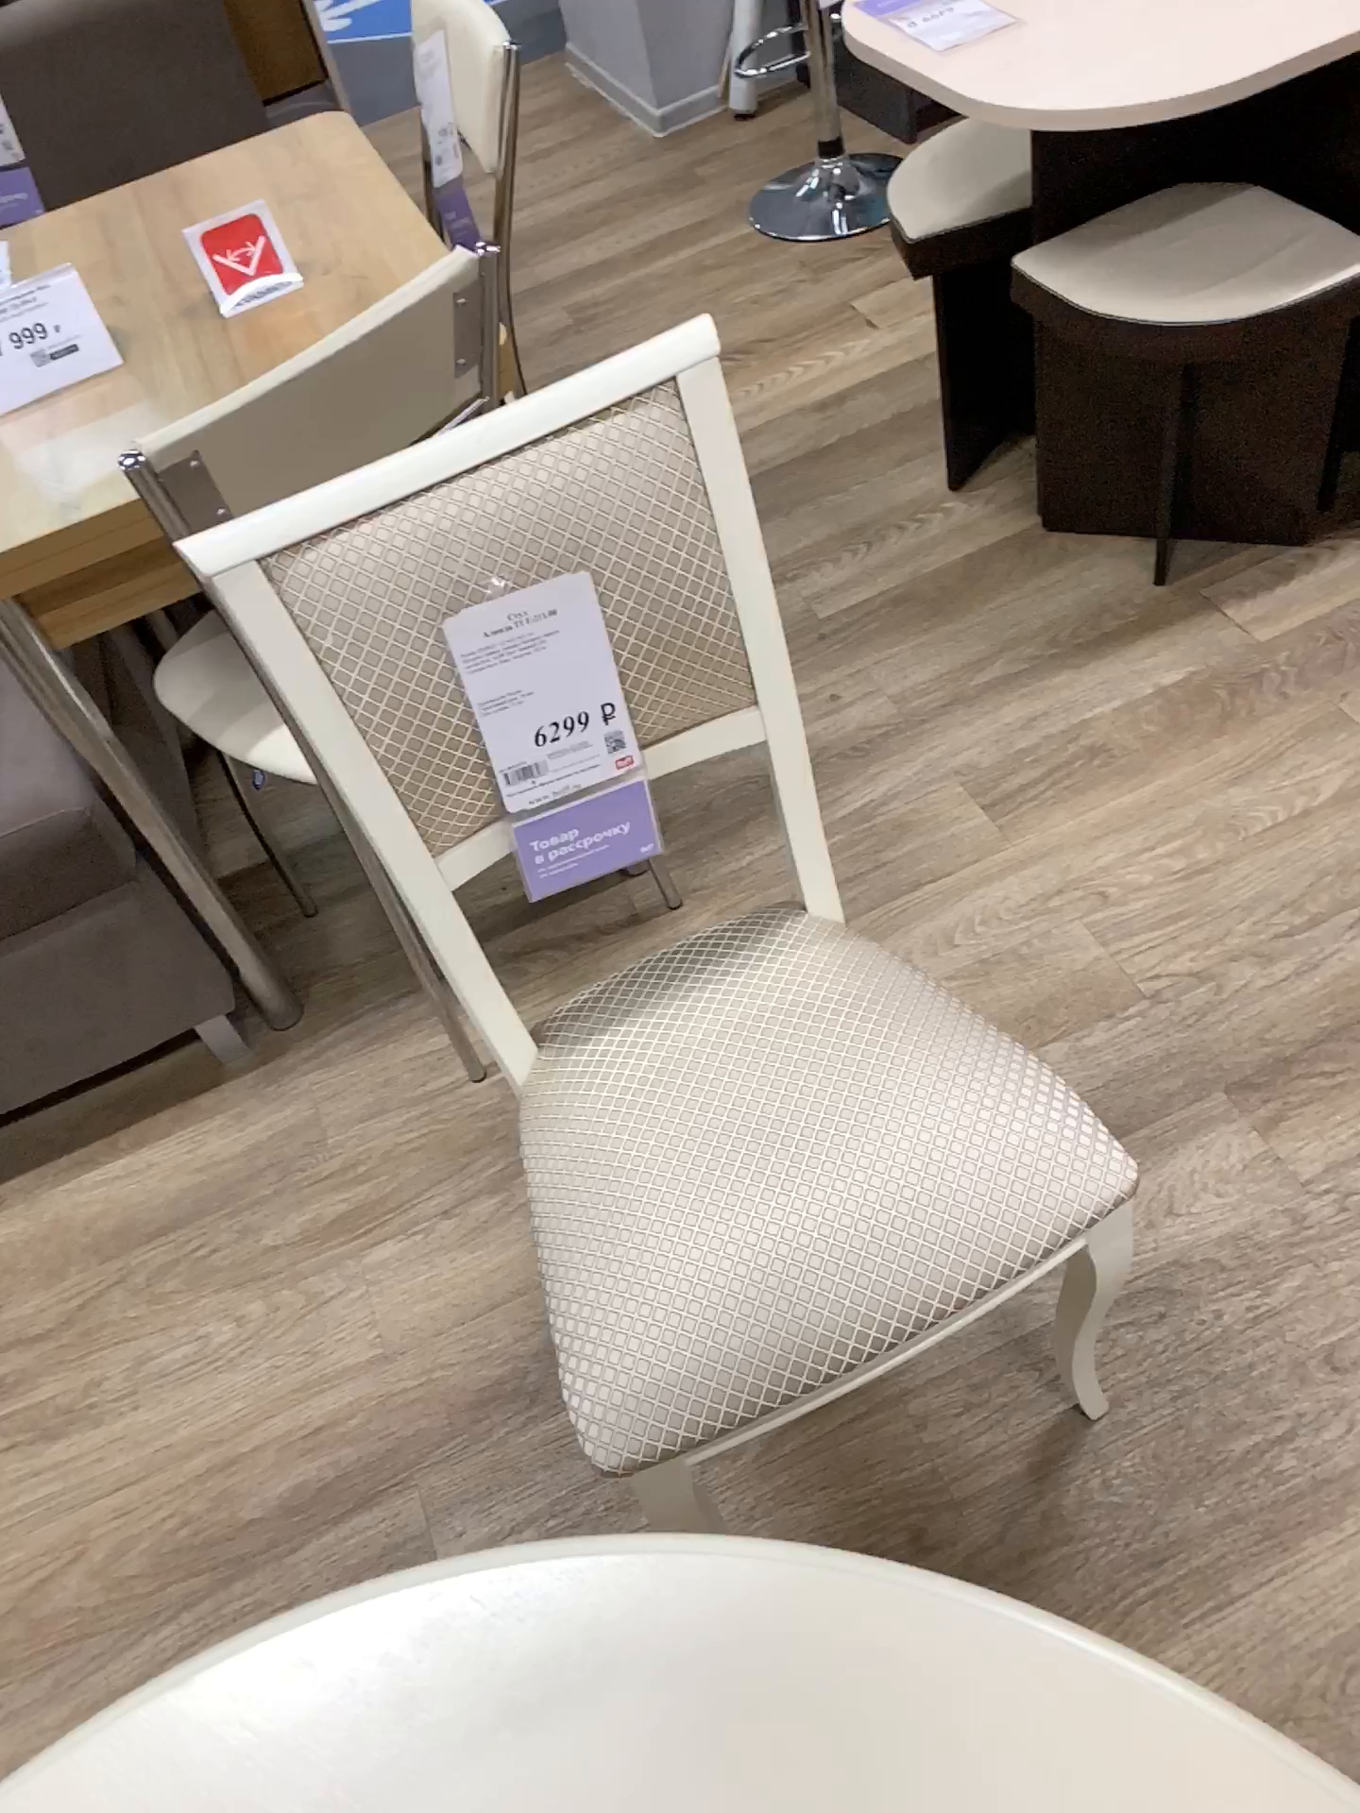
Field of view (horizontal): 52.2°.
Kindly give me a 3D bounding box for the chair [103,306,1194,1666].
[{"bbox_3d":[0.022,0.134,1.125,0.460,0.926,0.512,-27,48,-8],"label":"chair"}]
